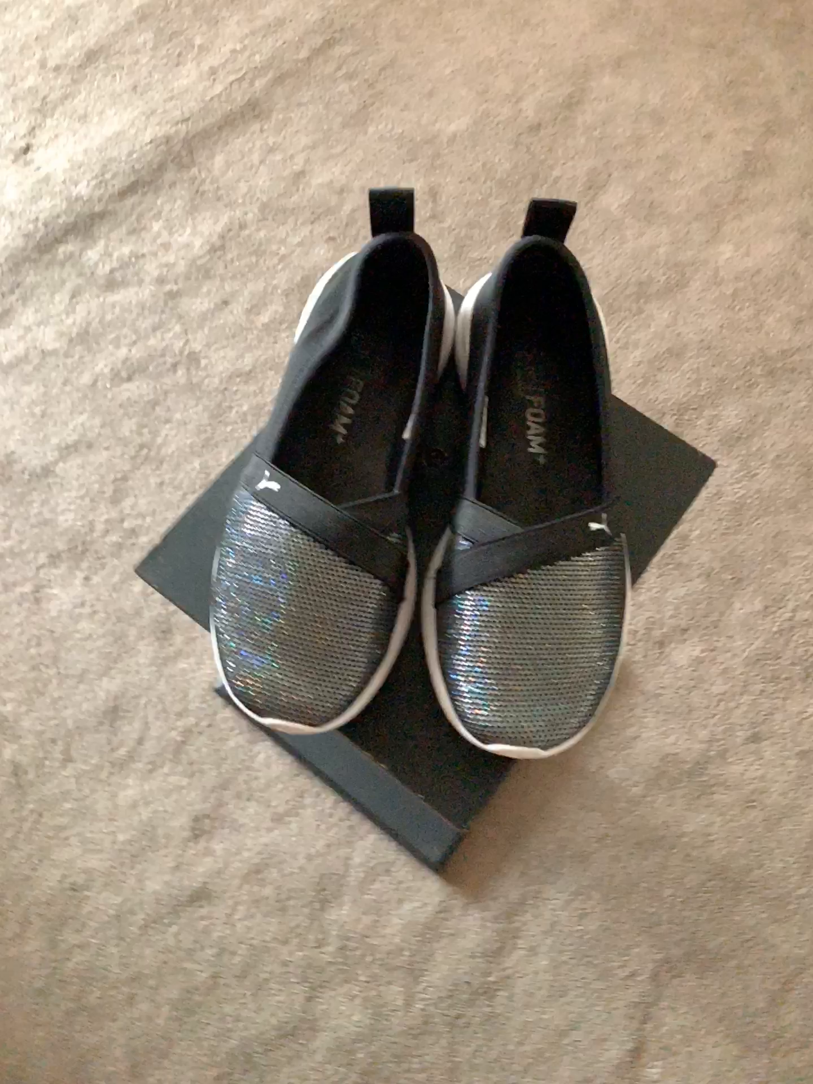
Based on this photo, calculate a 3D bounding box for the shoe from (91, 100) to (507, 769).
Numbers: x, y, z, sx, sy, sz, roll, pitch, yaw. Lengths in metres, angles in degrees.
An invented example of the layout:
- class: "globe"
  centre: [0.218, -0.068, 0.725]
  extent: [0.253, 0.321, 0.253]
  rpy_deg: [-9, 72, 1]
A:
- class: "shoe"
  centre: [-0.032, -0.046, 0.366]
  extent: [0.100, 0.100, 0.261]
  rpy_deg: [11, 70, 2]

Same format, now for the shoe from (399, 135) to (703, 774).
- class: "shoe"
  centre: [0.061, -0.038, 0.373]
  extent: [0.100, 0.100, 0.257]
  rpy_deg: [6, 70, 0]
